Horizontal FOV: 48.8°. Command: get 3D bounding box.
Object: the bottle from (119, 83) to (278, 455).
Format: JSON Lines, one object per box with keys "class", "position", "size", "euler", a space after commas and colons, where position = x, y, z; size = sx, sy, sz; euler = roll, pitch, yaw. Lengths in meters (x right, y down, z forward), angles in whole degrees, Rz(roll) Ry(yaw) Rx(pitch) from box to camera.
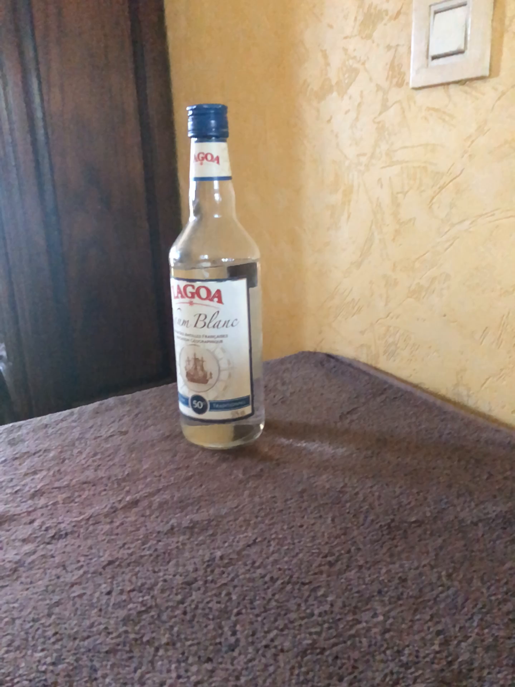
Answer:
{"class": "bottle", "position": [-0.041, -0.056, 0.461], "size": [0.080, 0.269, 0.080], "euler": [-2, 16, 1]}
